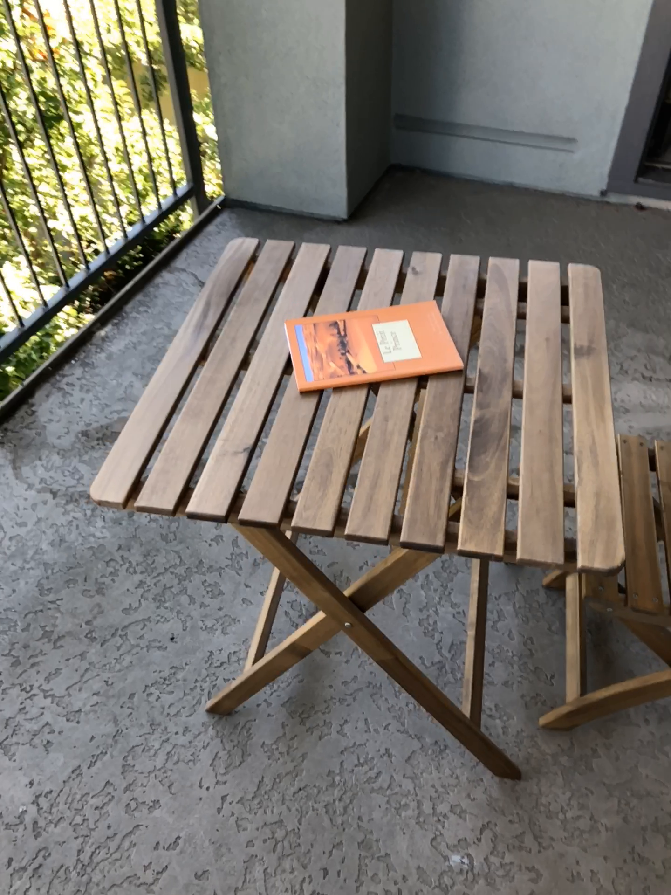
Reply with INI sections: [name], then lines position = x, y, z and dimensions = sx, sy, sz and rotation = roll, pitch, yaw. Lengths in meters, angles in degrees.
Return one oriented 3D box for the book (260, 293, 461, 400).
[book]
position = 0.028, -0.147, 1.037
dimensions = 0.250, 0.010, 0.181
rotation = -8, 47, -6
